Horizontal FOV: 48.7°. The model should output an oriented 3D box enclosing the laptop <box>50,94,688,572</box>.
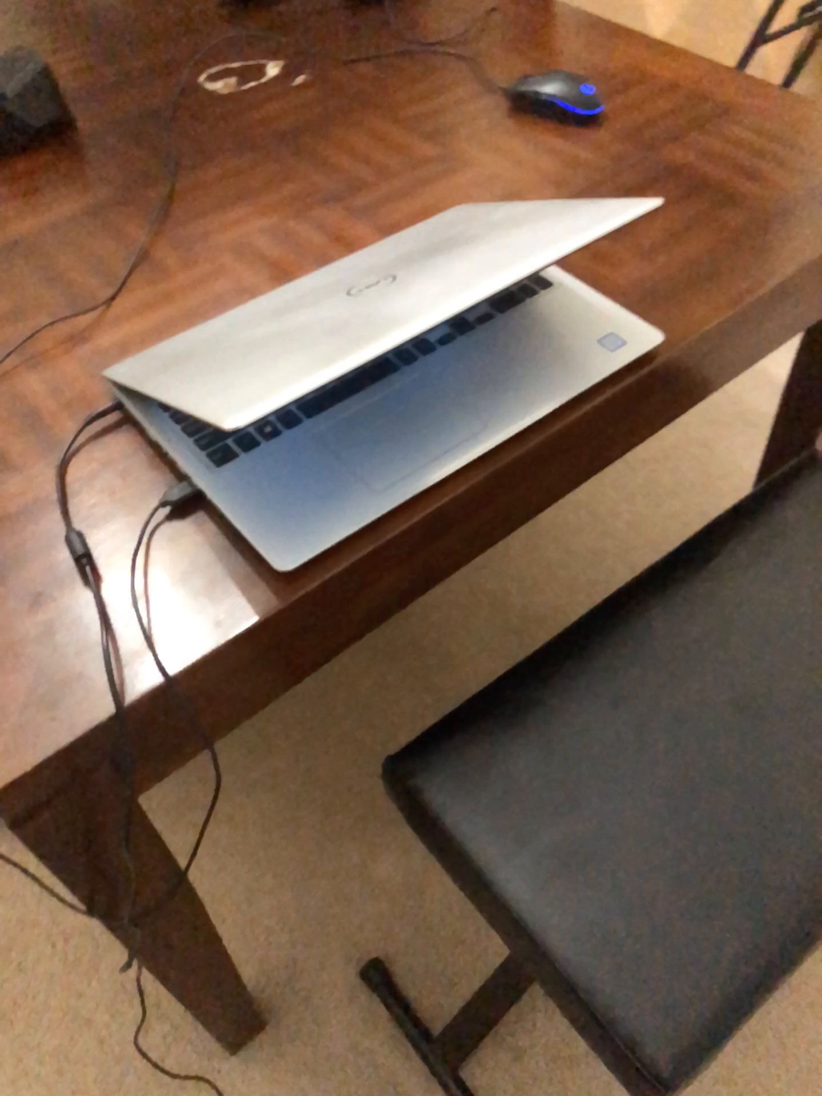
[{"bbox_3d":[-0.025,-0.184,0.681,0.369,0.103,0.250,-33,59,-22],"label":"laptop"}]
